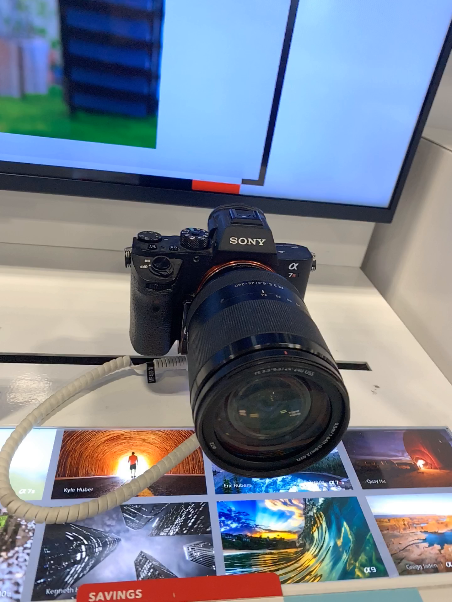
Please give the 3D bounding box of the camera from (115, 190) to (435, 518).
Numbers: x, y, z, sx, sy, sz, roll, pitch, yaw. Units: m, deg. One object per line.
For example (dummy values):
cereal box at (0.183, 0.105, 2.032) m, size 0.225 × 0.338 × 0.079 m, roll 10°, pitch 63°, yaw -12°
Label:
camera at (0.005, 0.016, 0.281) m, size 0.130 × 0.099 × 0.173 m, roll 2°, pitch 33°, yaw -11°
